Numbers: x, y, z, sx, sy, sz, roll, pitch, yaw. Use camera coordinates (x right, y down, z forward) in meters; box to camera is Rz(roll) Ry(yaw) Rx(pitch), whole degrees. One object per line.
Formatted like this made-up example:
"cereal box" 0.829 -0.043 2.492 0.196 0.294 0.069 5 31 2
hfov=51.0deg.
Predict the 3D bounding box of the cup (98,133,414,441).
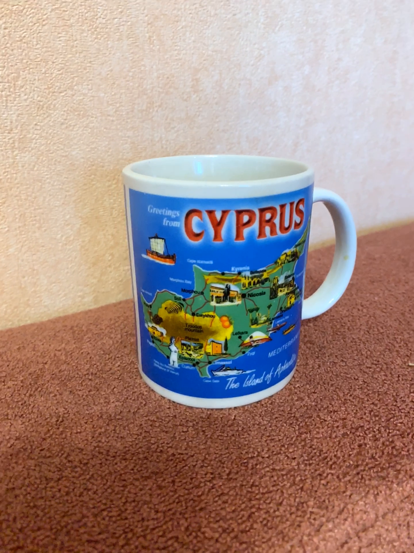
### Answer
"cup" 0.025 -0.009 0.196 0.119 0.091 0.085 -12 27 -24
